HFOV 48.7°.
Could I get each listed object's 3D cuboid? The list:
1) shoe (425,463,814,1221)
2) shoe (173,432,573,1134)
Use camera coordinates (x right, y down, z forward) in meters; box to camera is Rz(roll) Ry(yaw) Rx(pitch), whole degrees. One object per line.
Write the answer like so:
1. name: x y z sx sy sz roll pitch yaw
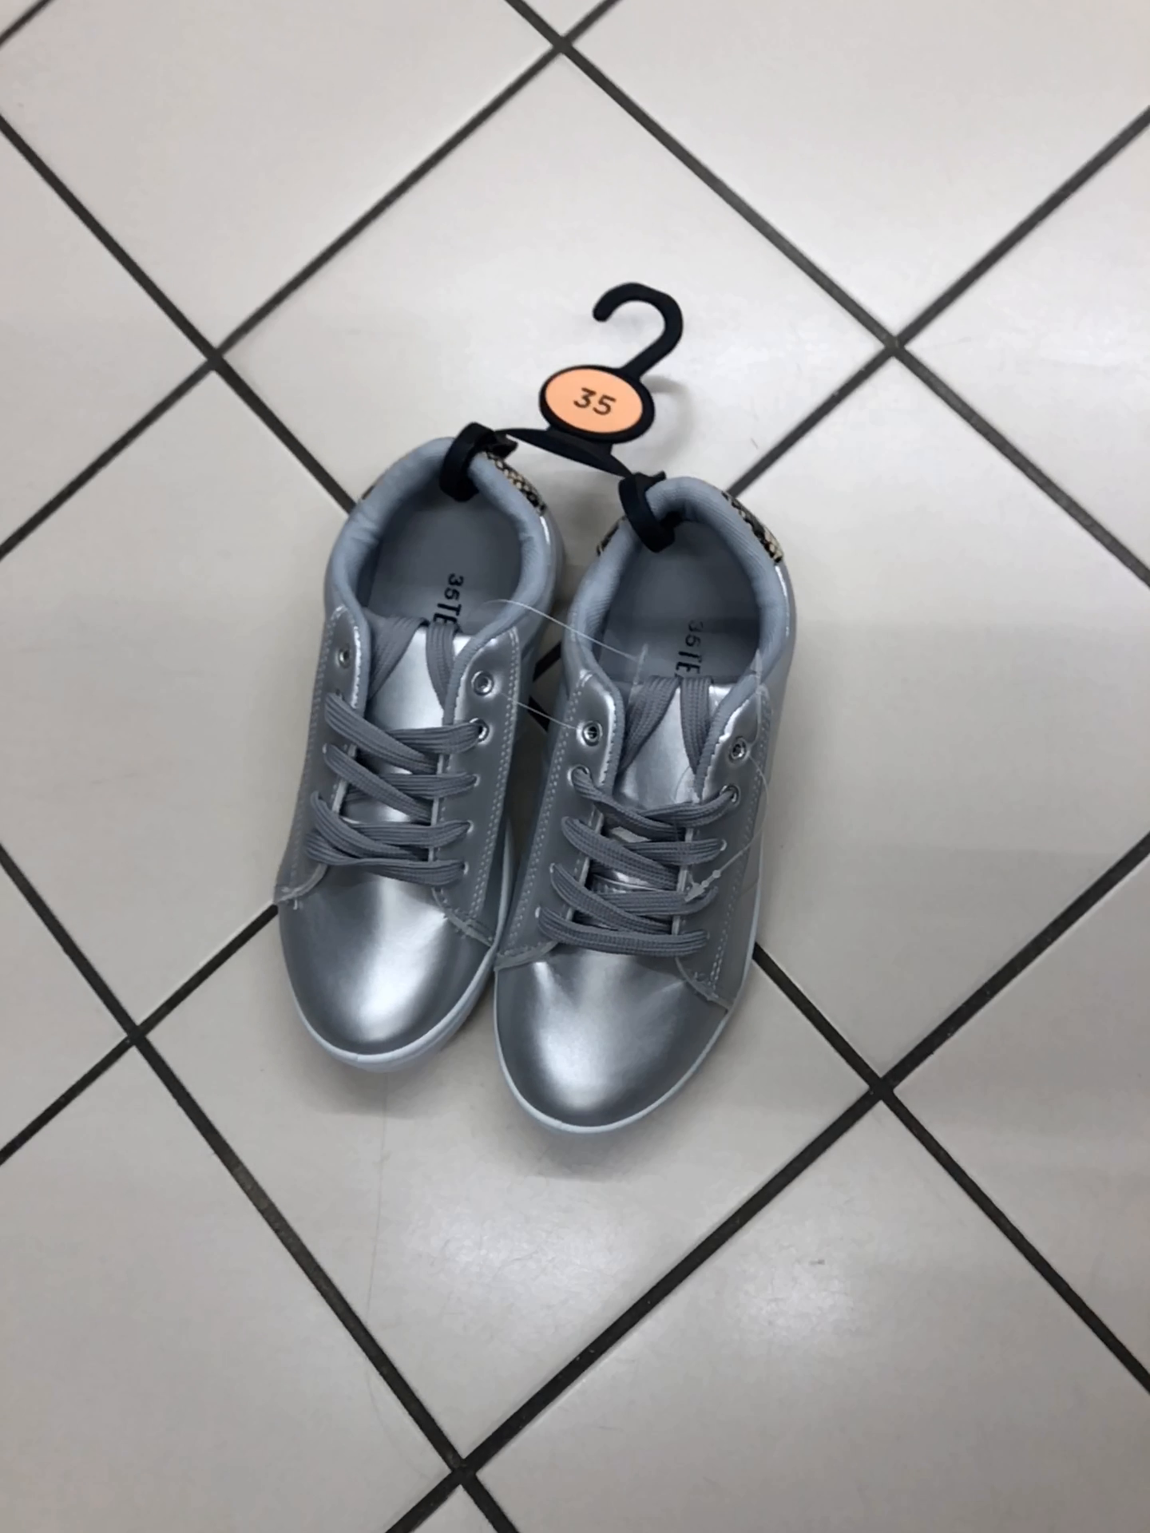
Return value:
1. shoe: 0.022 0.024 0.444 0.090 0.090 0.230 7 81 10
2. shoe: -0.066 0.006 0.469 0.090 0.090 0.230 6 81 10
